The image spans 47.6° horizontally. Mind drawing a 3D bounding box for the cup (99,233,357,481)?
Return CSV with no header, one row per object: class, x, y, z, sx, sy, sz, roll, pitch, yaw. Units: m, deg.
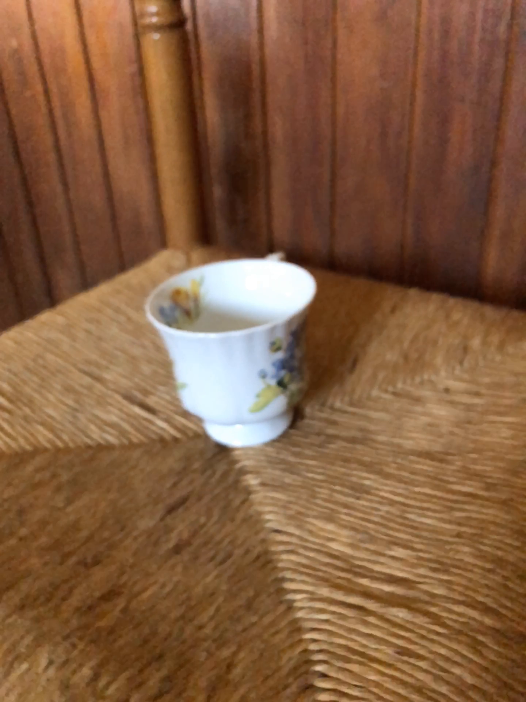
cup,-0.009,-0.007,0.331,0.090,0.070,0.131,9,32,20
